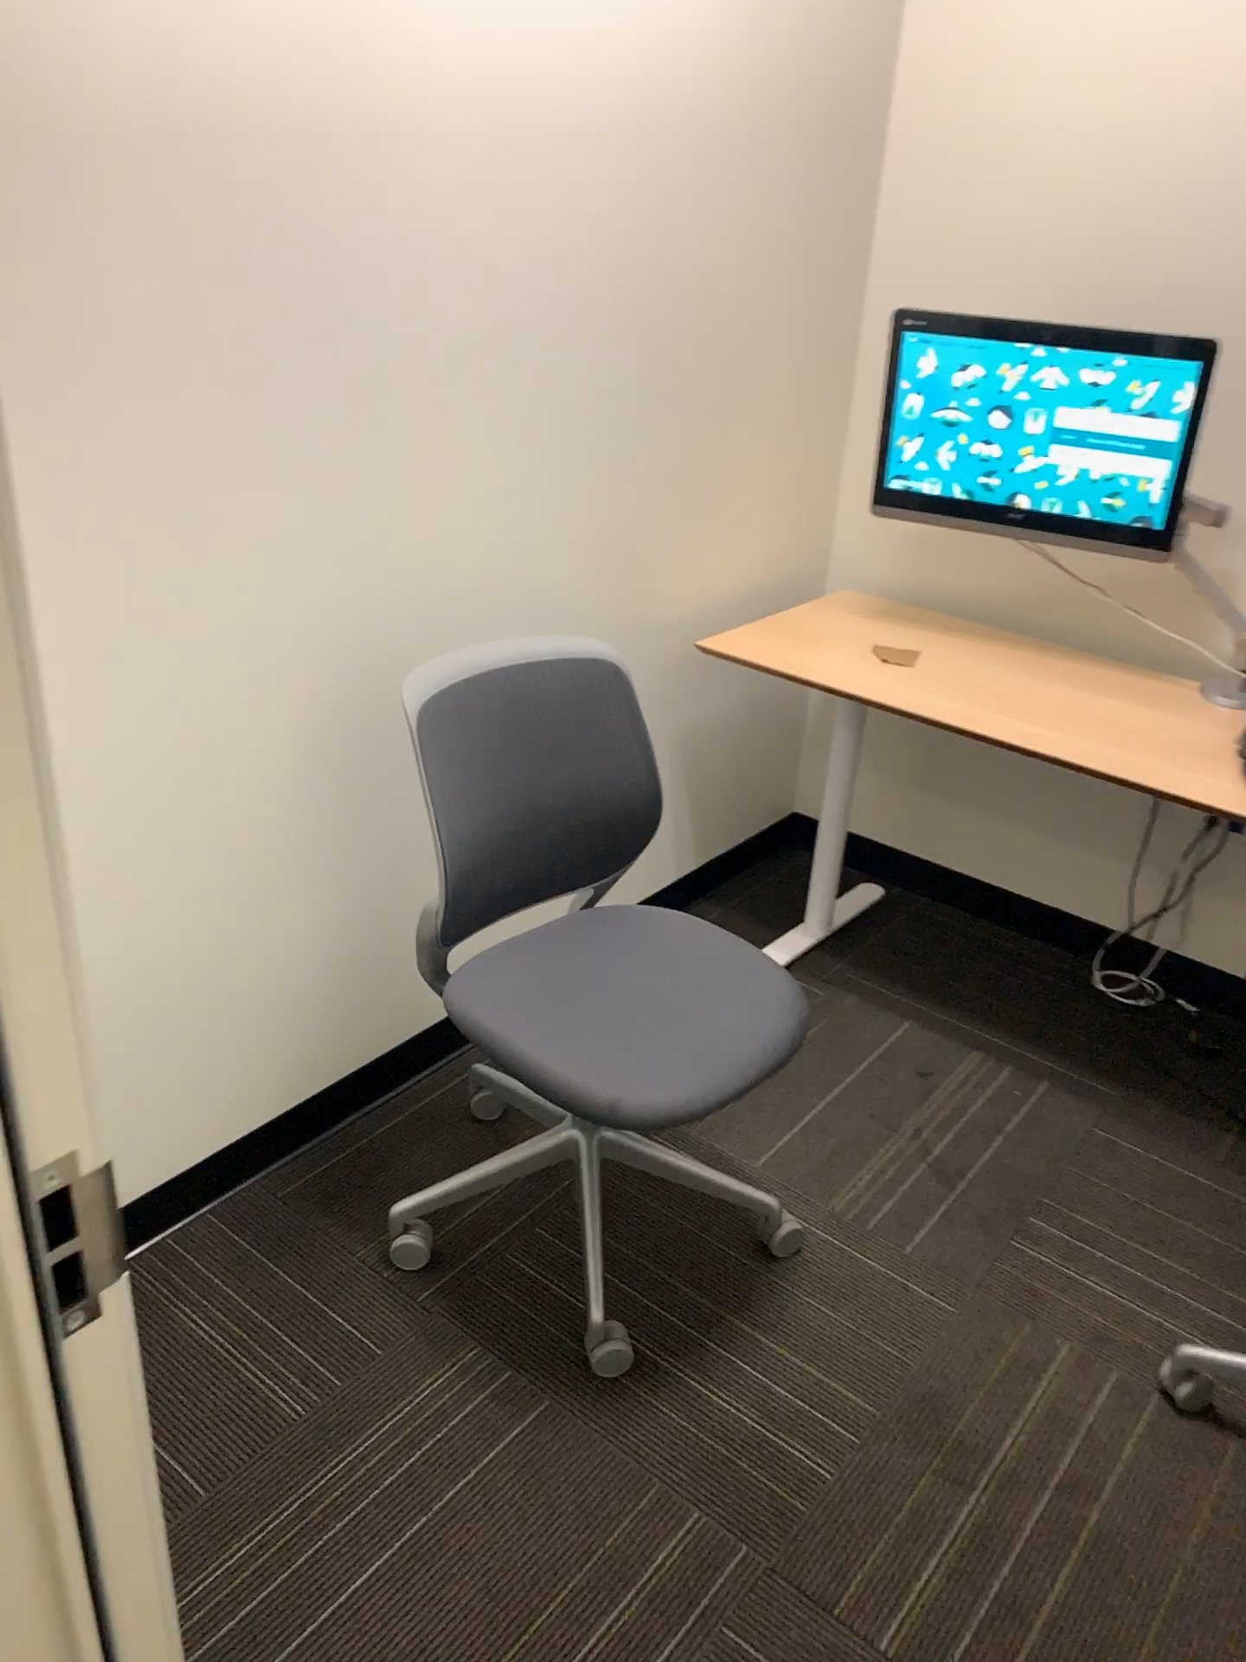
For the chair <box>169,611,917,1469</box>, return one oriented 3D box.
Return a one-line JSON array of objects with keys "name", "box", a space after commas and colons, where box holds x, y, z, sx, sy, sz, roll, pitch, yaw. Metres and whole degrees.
[{"name": "chair", "box": [-0.168, 0.240, 2.111, 0.721, 0.885, 0.903, -19, 34, -38]}]
